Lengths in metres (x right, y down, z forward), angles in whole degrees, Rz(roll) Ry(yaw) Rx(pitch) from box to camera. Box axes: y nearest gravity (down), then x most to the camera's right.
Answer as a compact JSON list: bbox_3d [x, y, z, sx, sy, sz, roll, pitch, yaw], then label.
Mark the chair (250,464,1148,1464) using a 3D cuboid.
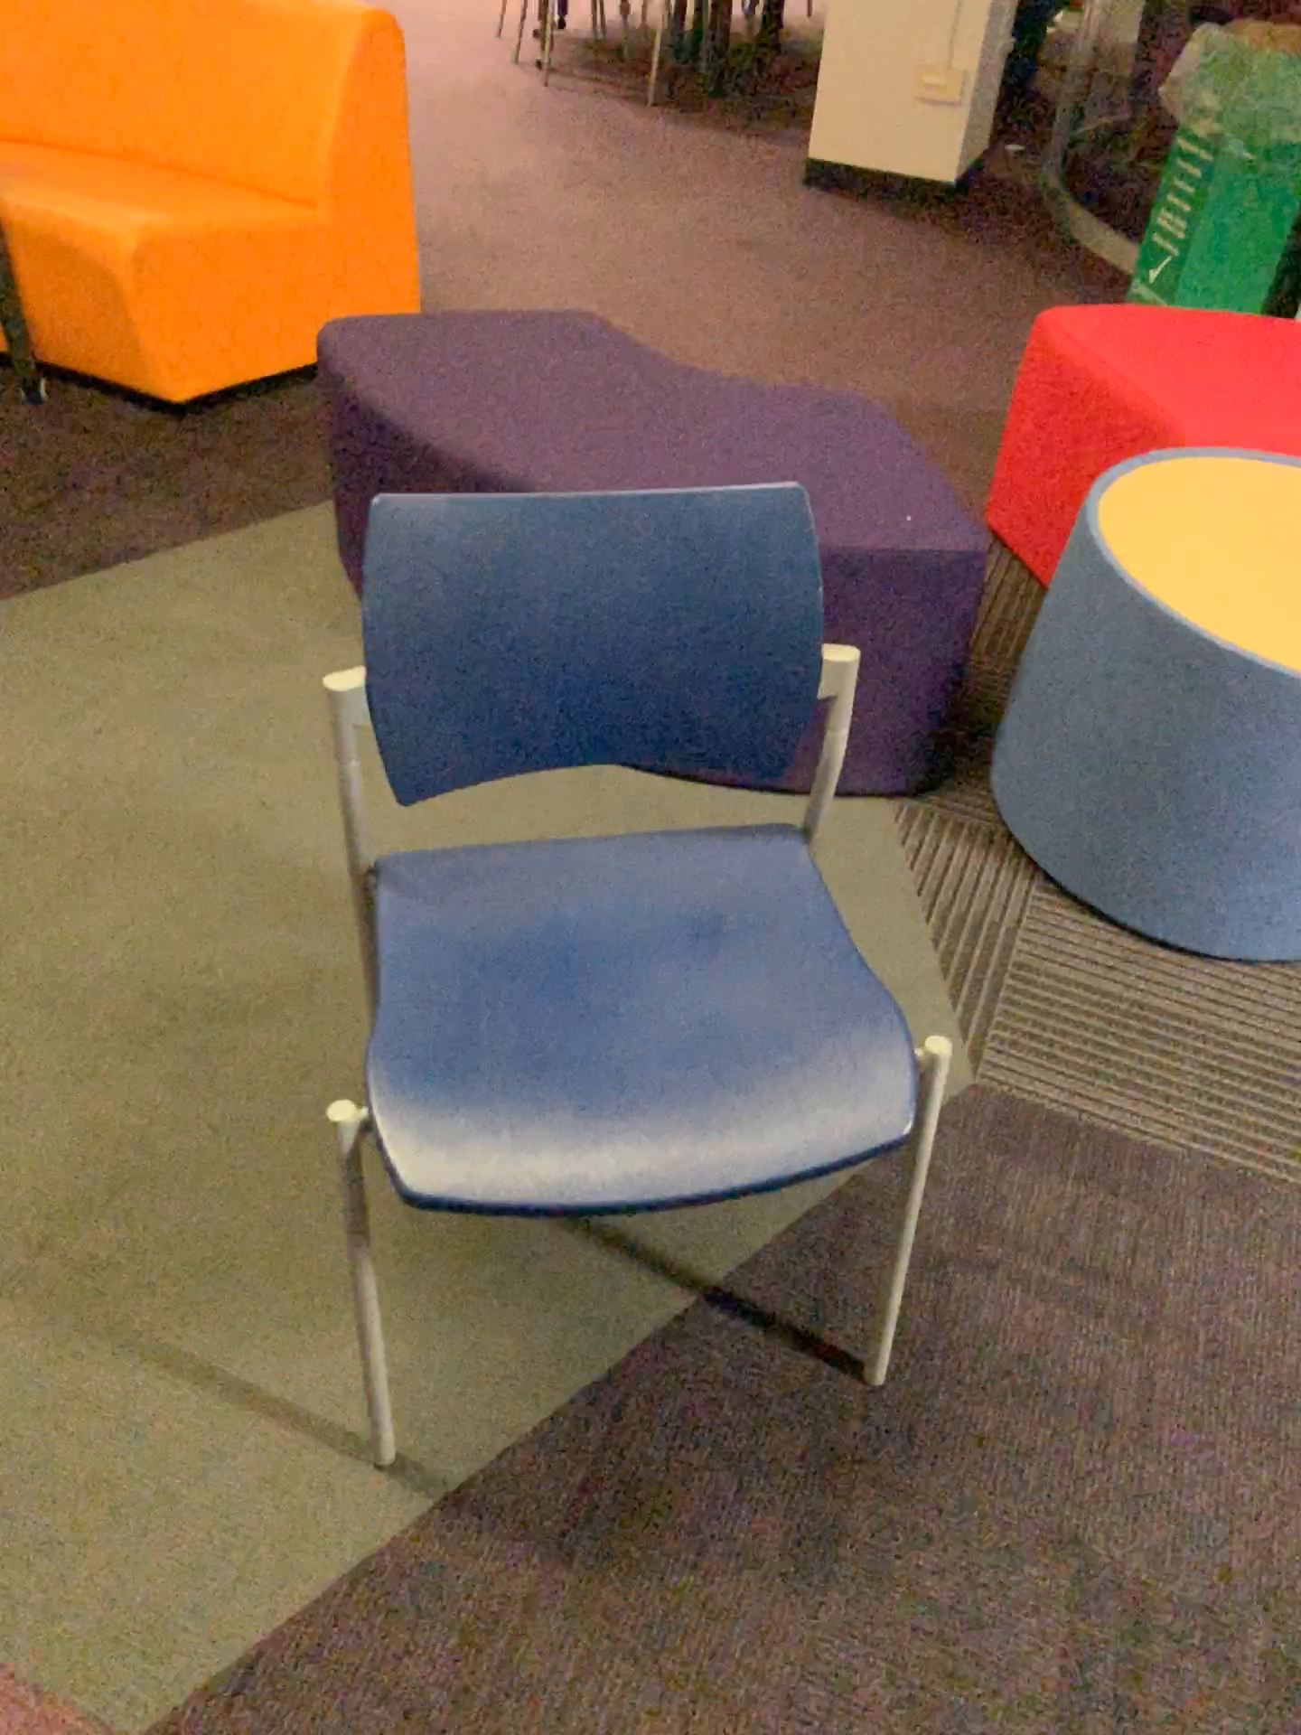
[{"bbox_3d":[-0.022,0.083,1.247,0.560,0.693,0.575,-4,43,-9],"label":"chair"}]
